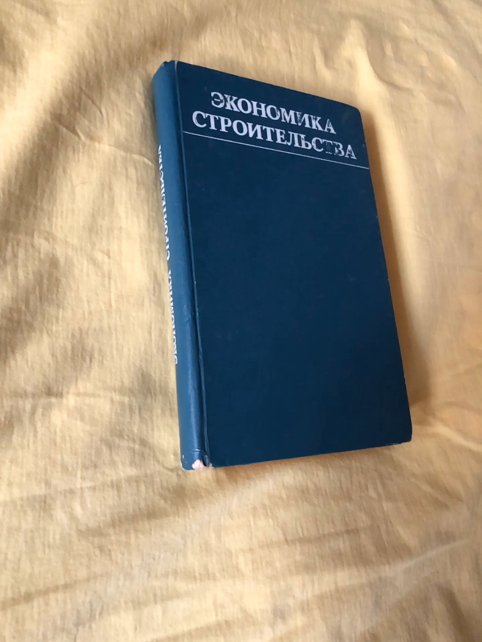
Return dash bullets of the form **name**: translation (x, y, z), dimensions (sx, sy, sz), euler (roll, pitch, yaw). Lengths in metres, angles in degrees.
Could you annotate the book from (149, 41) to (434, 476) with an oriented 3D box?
- **book**: translation (0.026, -0.032, 0.279), dimensions (0.131, 0.030, 0.200), euler (0, 77, -29)
